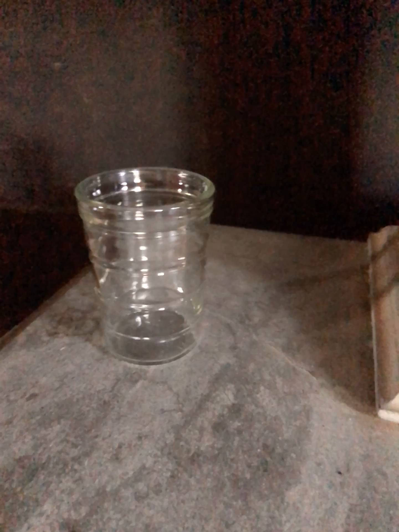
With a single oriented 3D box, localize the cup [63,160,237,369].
[{"bbox_3d":[-0.023,-0.005,0.229,0.070,0.080,0.070,-1,26,0],"label":"cup"}]
